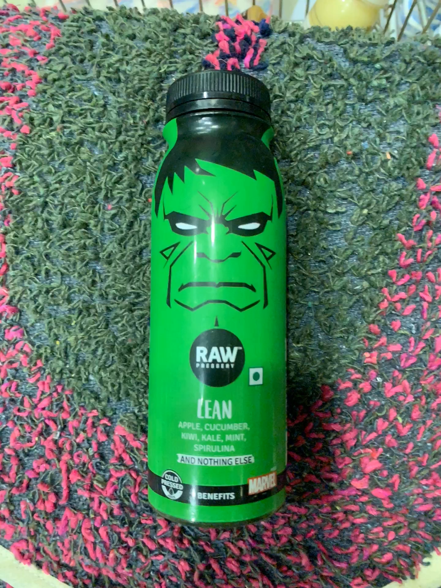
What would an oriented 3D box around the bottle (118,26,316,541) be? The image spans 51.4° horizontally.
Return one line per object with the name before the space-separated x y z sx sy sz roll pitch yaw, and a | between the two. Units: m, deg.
bottle | 0.001 -0.005 0.170 0.060 0.050 0.160 -1 85 6
